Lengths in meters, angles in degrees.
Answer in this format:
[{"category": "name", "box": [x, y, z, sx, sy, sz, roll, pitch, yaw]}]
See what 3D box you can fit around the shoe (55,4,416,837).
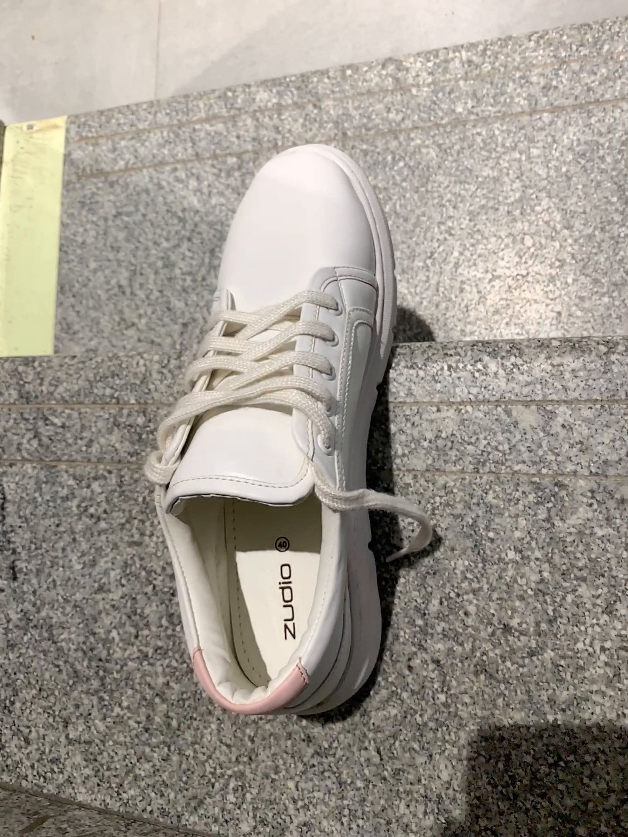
[{"category": "shoe", "box": [-0.021, 0.003, 0.286, 0.110, 0.110, 0.290, 0, 84, 19]}]
